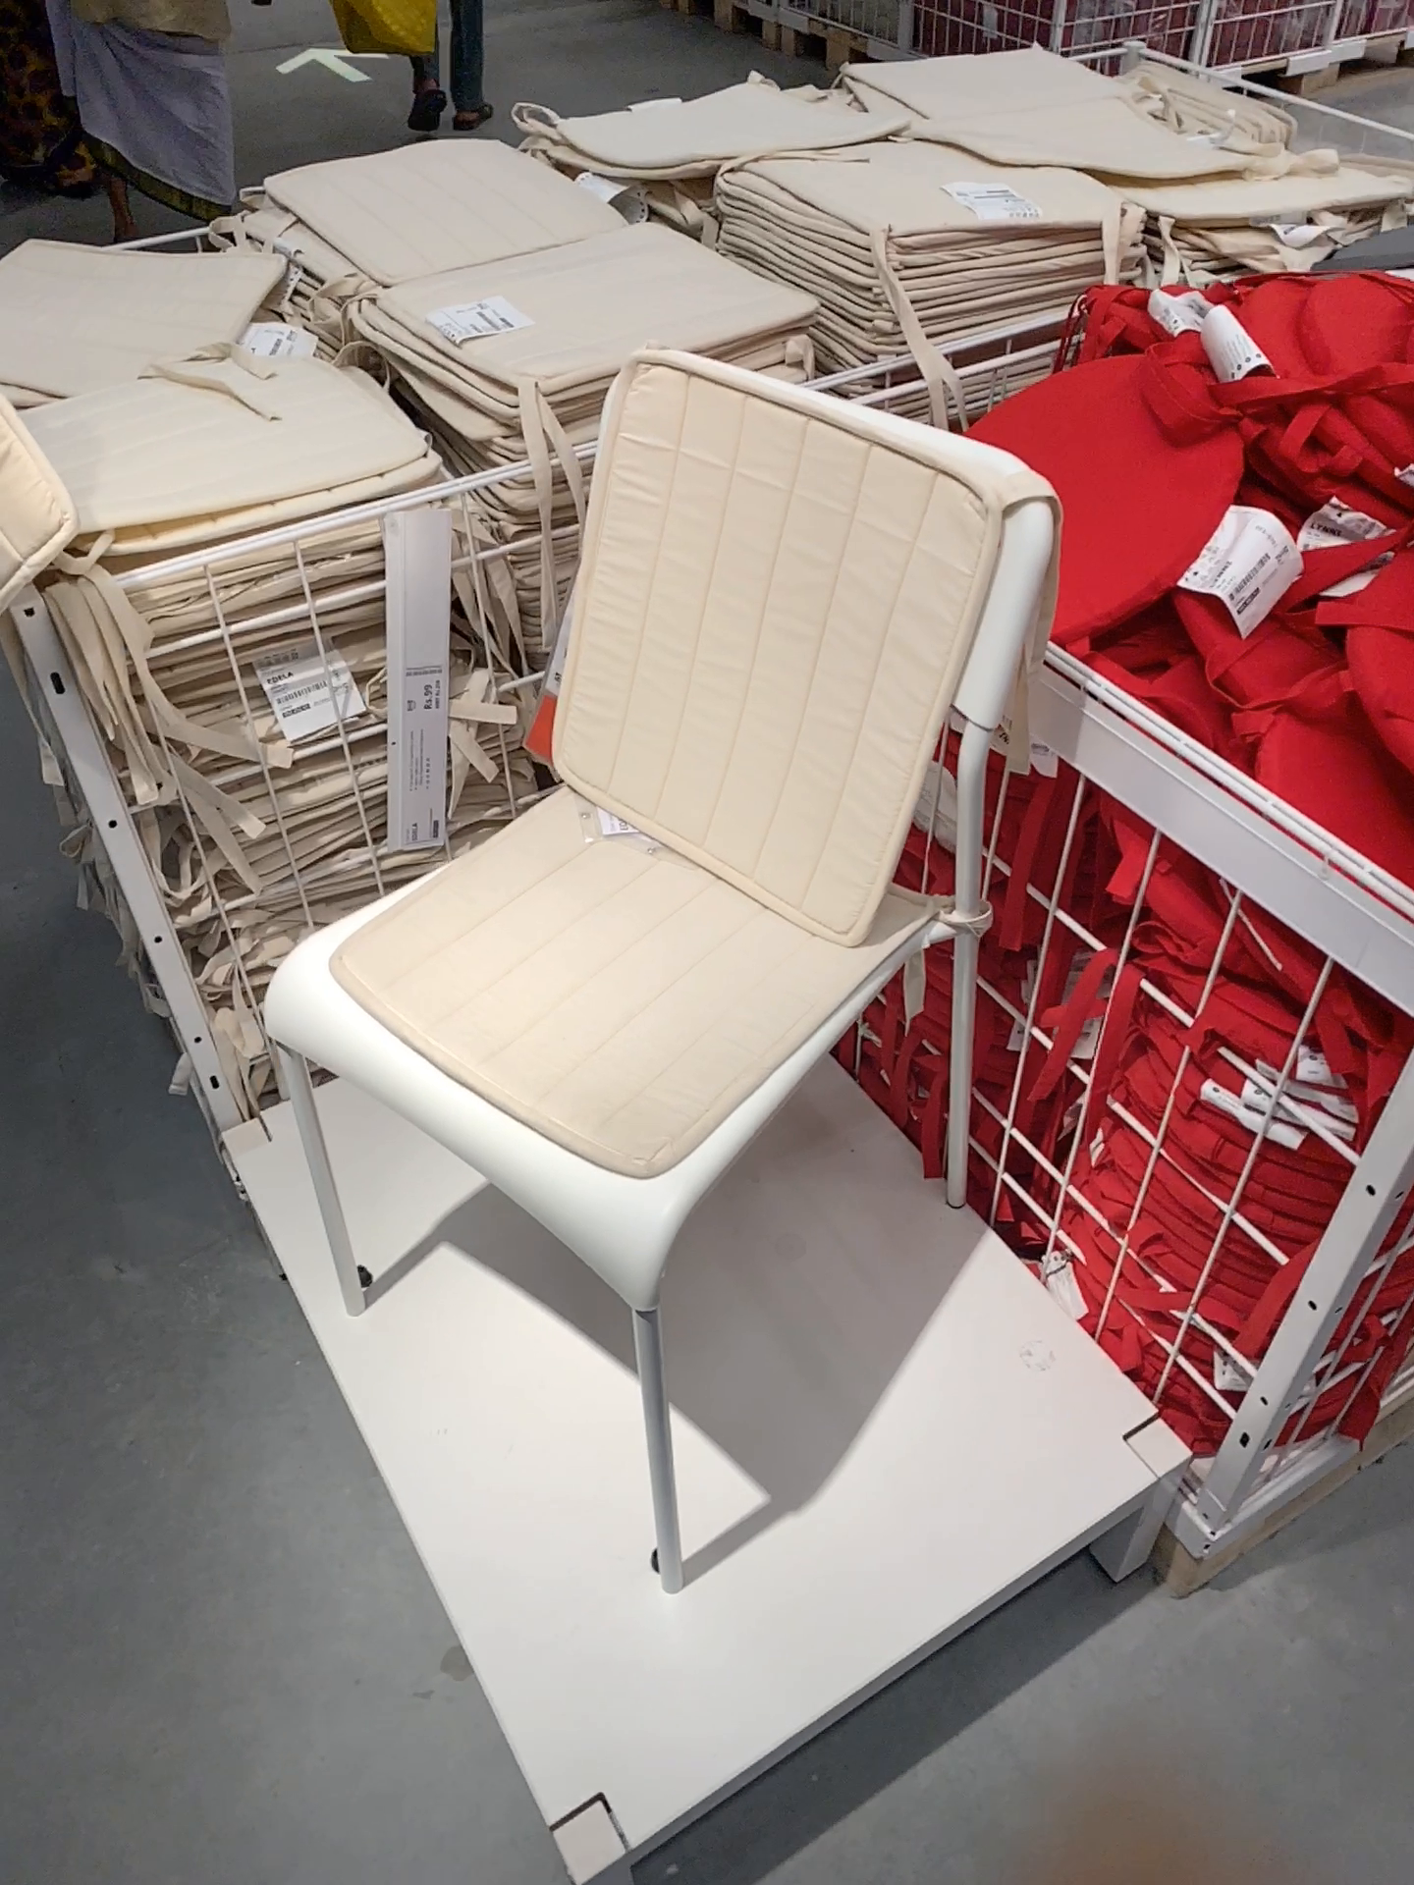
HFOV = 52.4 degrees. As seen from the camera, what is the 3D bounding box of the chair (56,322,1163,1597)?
[{"bbox_3d":[-0.039,0.014,1.072,0.431,0.697,0.481,29,51,29],"label":"chair"}]
